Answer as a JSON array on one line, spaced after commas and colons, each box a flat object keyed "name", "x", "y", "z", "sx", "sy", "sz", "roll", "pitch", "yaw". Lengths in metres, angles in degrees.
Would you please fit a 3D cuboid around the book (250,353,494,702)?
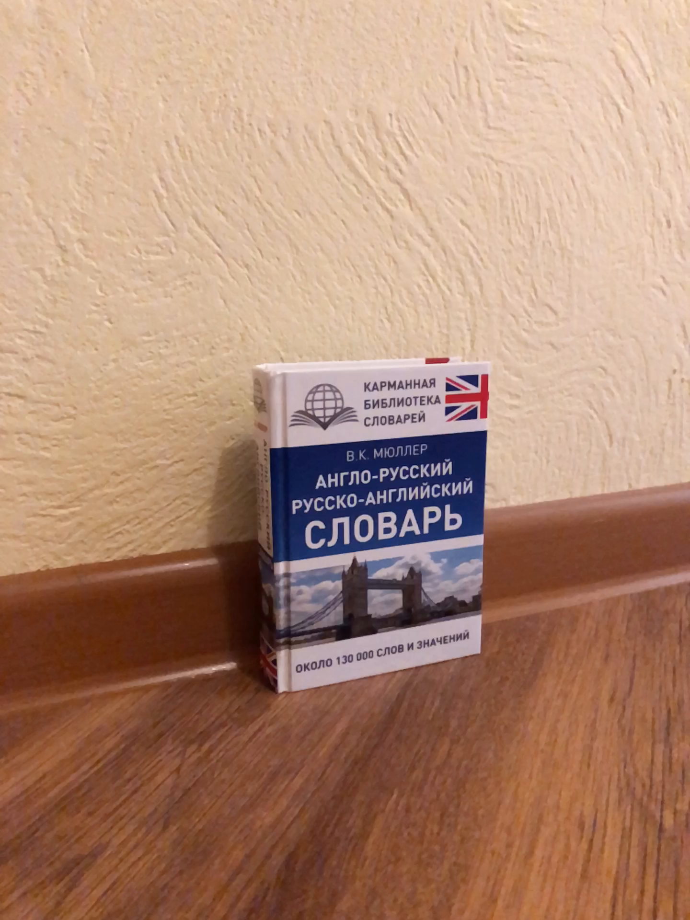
[{"name": "book", "x": 0.012, "y": 0.027, "z": 0.356, "sx": 0.102, "sy": 0.147, "sz": 0.037, "roll": -5, "pitch": 15, "yaw": -21}]
